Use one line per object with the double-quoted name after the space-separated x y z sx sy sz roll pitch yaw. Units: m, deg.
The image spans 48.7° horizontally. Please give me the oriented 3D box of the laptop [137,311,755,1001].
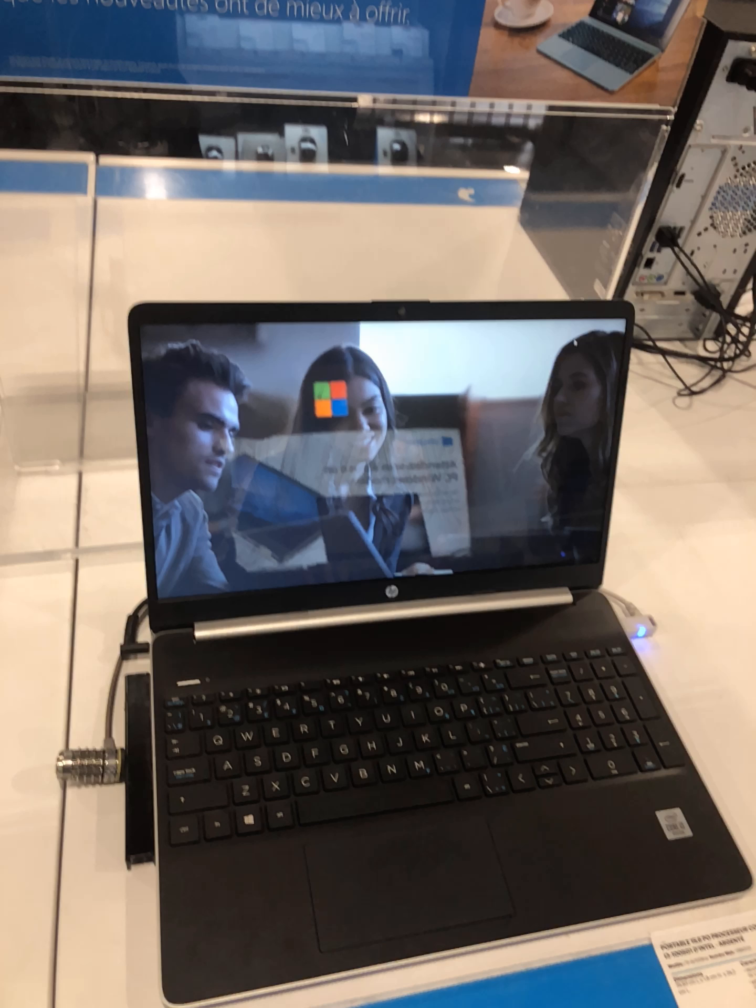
0.038 0.056 0.518 0.346 0.196 0.335 -3 45 -14 "laptop"
